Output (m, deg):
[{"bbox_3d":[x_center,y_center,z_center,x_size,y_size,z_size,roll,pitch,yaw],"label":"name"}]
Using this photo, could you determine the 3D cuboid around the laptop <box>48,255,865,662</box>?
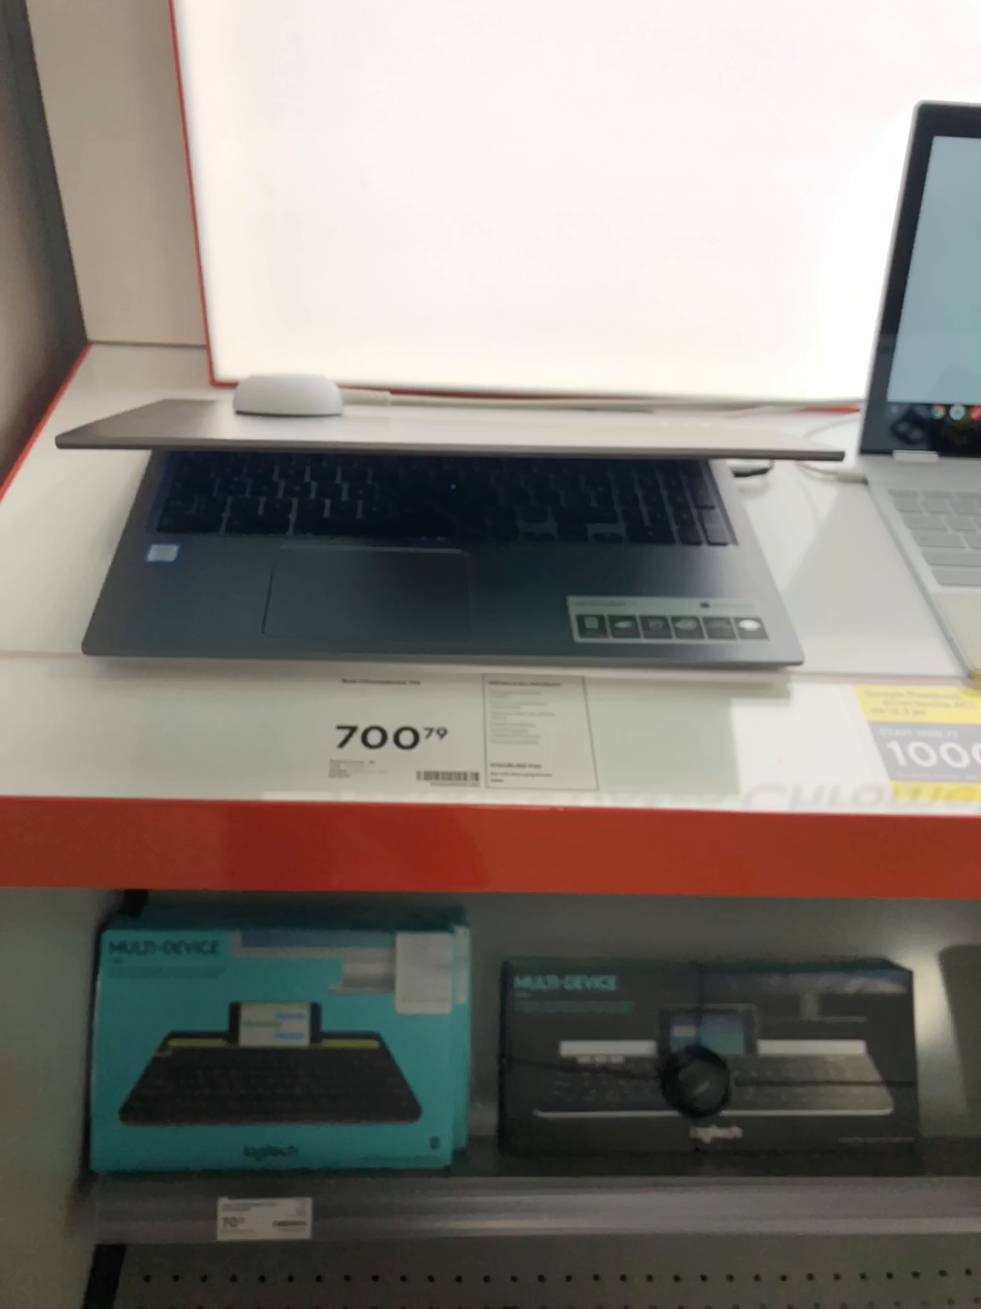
[{"bbox_3d":[-0.019,-0.116,0.598,0.356,0.105,0.237,1,40,-5],"label":"laptop"}]
